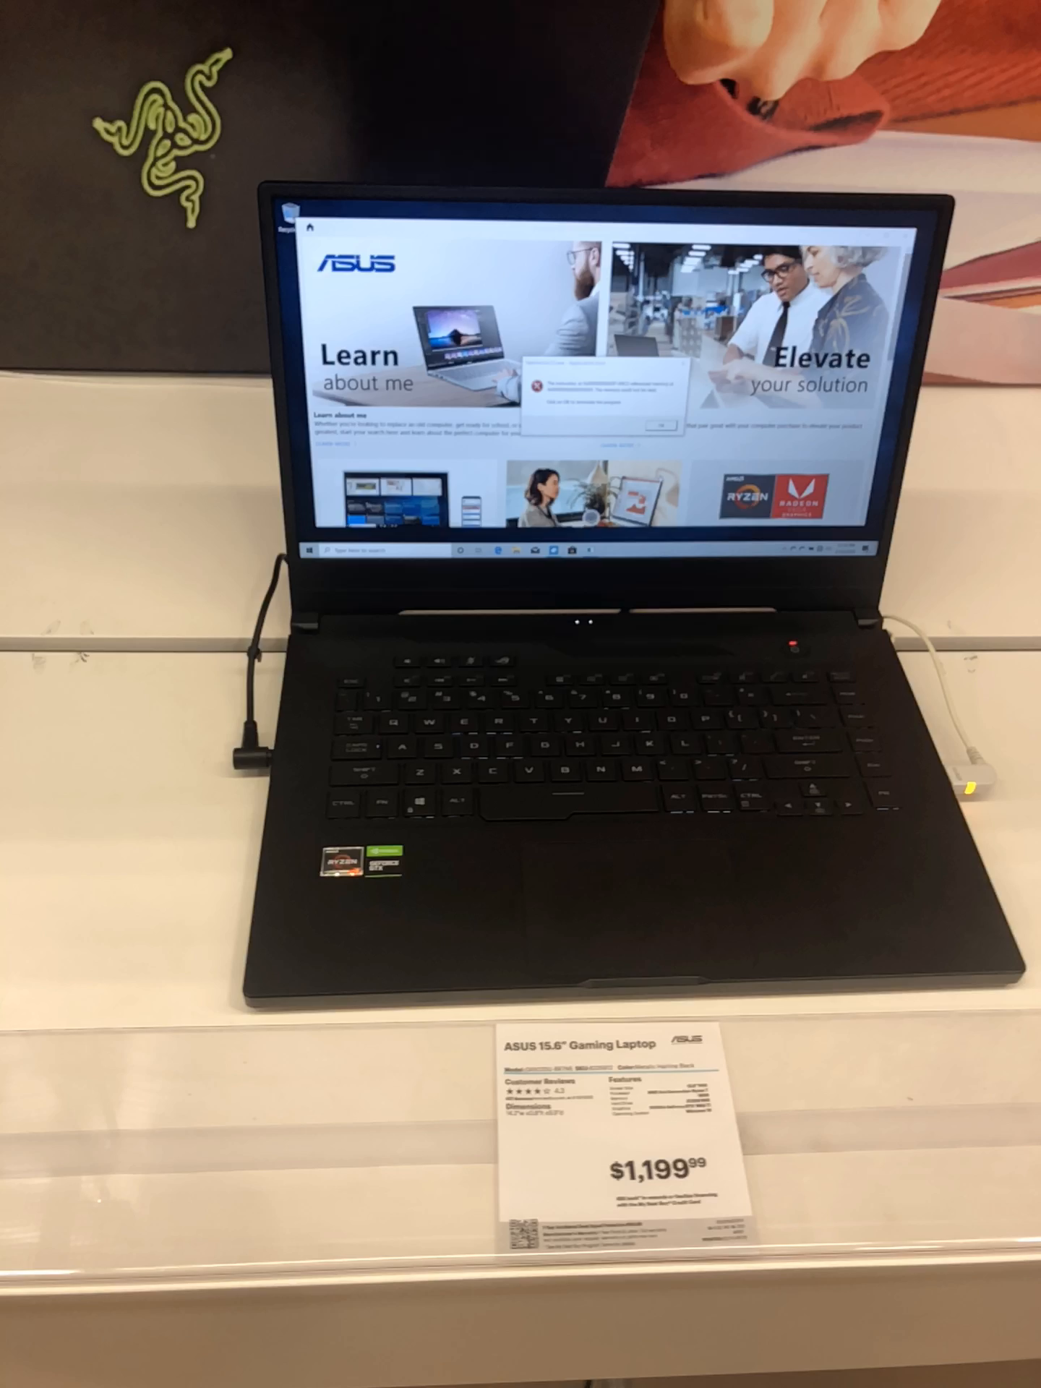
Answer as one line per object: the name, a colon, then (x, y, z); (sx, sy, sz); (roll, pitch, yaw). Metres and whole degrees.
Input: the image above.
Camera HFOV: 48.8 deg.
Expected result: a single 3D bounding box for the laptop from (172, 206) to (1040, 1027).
laptop: (0.066, -0.049, 0.524); (0.351, 0.222, 0.311); (-1, 44, -3)
